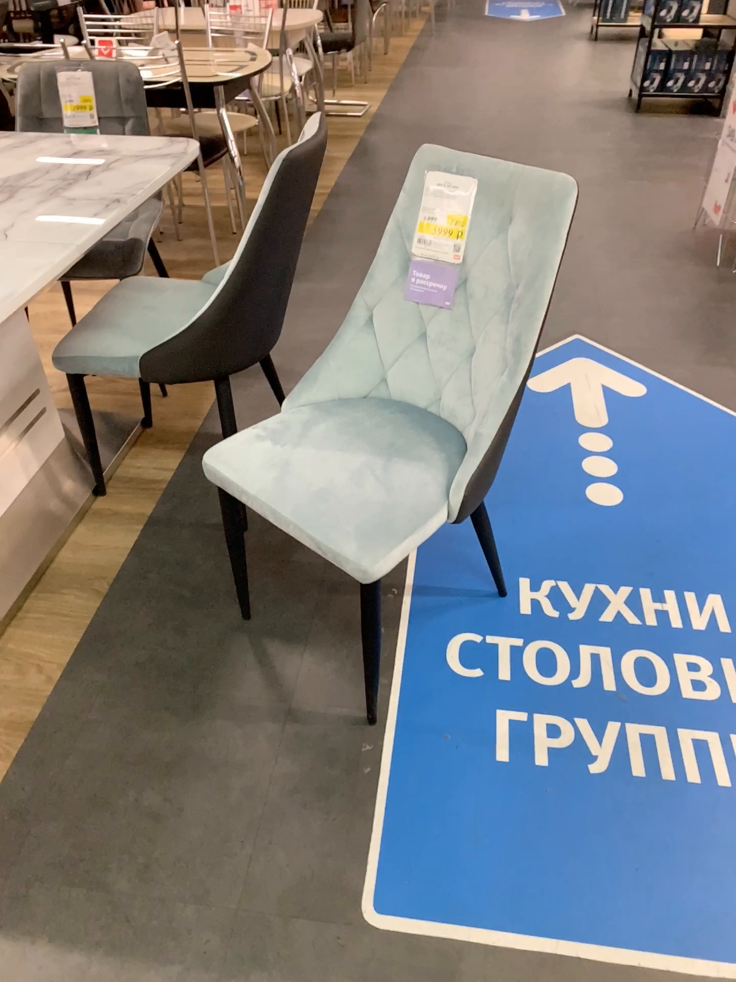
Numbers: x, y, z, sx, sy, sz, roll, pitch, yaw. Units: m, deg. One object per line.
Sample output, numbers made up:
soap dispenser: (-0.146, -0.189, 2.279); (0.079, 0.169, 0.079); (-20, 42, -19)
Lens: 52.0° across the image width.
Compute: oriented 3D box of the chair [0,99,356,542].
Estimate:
chair: (-0.409, -0.421, 1.877); (0.665, 0.880, 0.572); (5, 38, 7)

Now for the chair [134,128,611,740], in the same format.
chair: (0.019, -0.112, 1.410); (0.471, 0.885, 0.552); (30, 47, 33)
